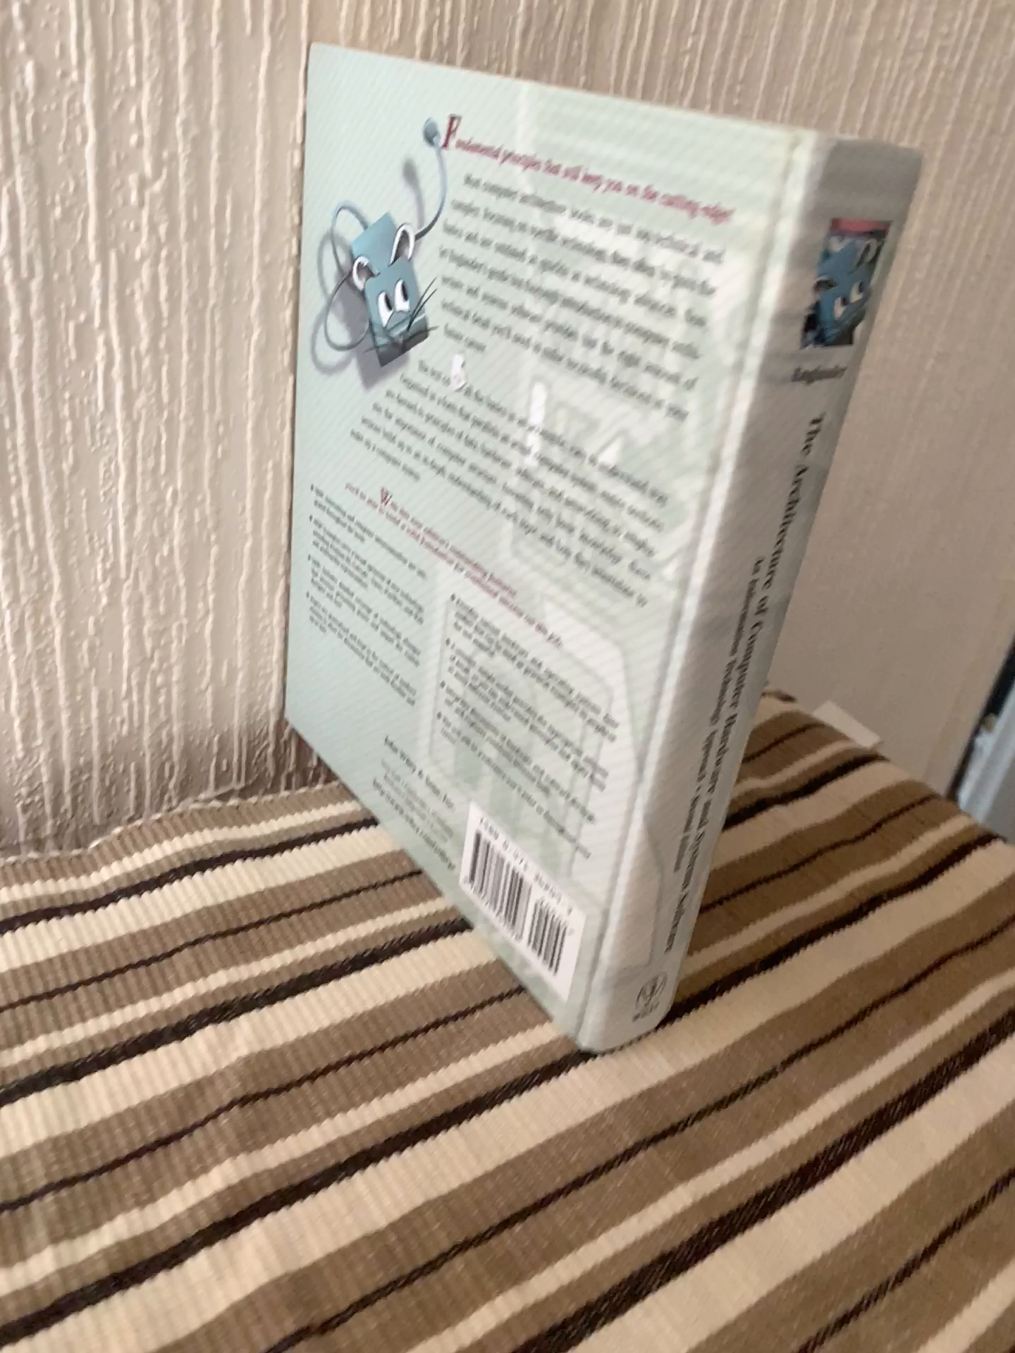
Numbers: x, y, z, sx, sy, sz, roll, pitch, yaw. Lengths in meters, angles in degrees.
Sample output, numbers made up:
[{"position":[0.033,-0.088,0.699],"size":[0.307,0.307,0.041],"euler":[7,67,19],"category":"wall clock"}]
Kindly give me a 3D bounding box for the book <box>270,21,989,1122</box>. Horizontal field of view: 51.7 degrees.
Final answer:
[{"position":[-0.005,-0.037,0.317],"size":[0.040,0.258,0.211],"euler":[-14,38,-34],"category":"book"}]
